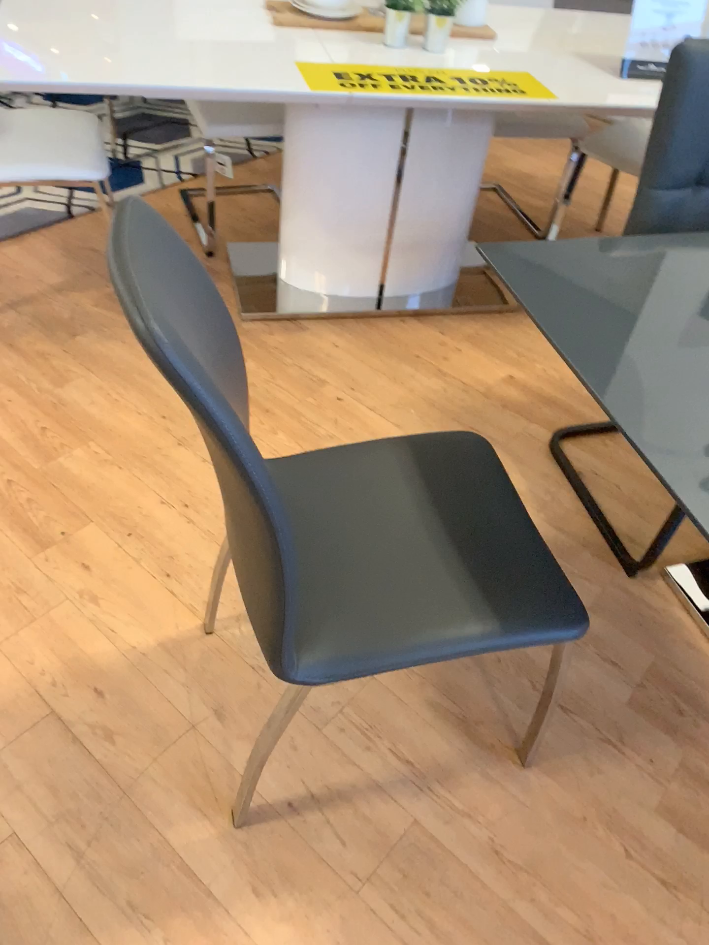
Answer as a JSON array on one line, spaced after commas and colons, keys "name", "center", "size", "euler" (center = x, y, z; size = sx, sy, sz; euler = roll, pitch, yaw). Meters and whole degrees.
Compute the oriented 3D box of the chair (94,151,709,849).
[{"name": "chair", "center": [0.016, 0.075, 1.072], "size": [0.641, 0.892, 0.484], "euler": [-6, 46, -15]}]
